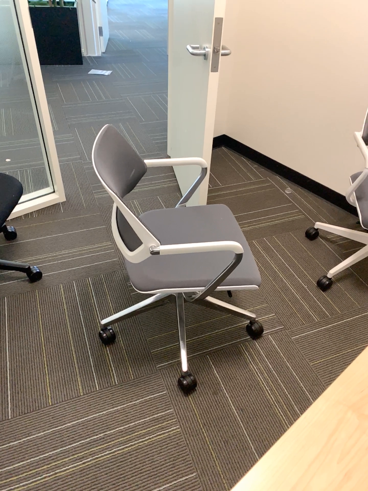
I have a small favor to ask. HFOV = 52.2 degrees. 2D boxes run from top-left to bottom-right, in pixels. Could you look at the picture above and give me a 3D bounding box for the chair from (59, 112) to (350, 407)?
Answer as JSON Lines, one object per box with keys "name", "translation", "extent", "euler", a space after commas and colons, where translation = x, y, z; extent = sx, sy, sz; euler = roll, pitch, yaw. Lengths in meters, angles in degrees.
{"name": "chair", "translation": [-0.004, 0.013, 1.471], "extent": [0.730, 0.766, 0.805], "euler": [-3, 41, -8]}
